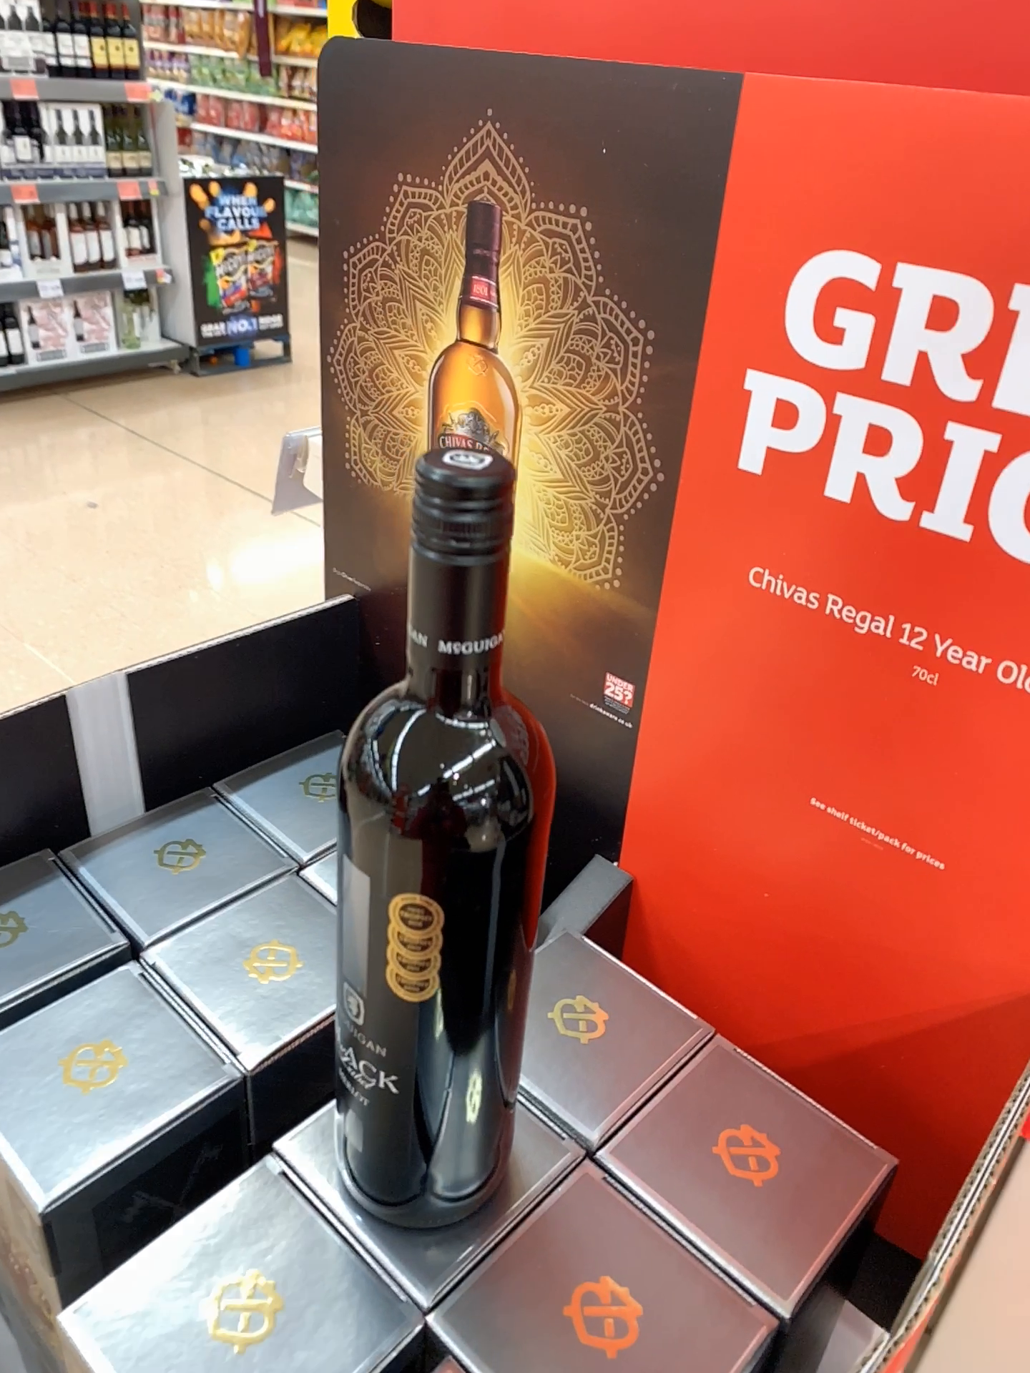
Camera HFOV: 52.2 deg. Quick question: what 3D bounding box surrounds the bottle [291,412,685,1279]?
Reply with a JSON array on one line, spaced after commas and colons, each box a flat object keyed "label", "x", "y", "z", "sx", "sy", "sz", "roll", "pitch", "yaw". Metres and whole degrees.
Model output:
[{"label": "bottle", "x": -0.019, "y": 0.065, "z": 0.351, "sx": 0.080, "sy": 0.287, "sz": 0.070, "roll": -14, "pitch": 36, "yaw": -29}]
